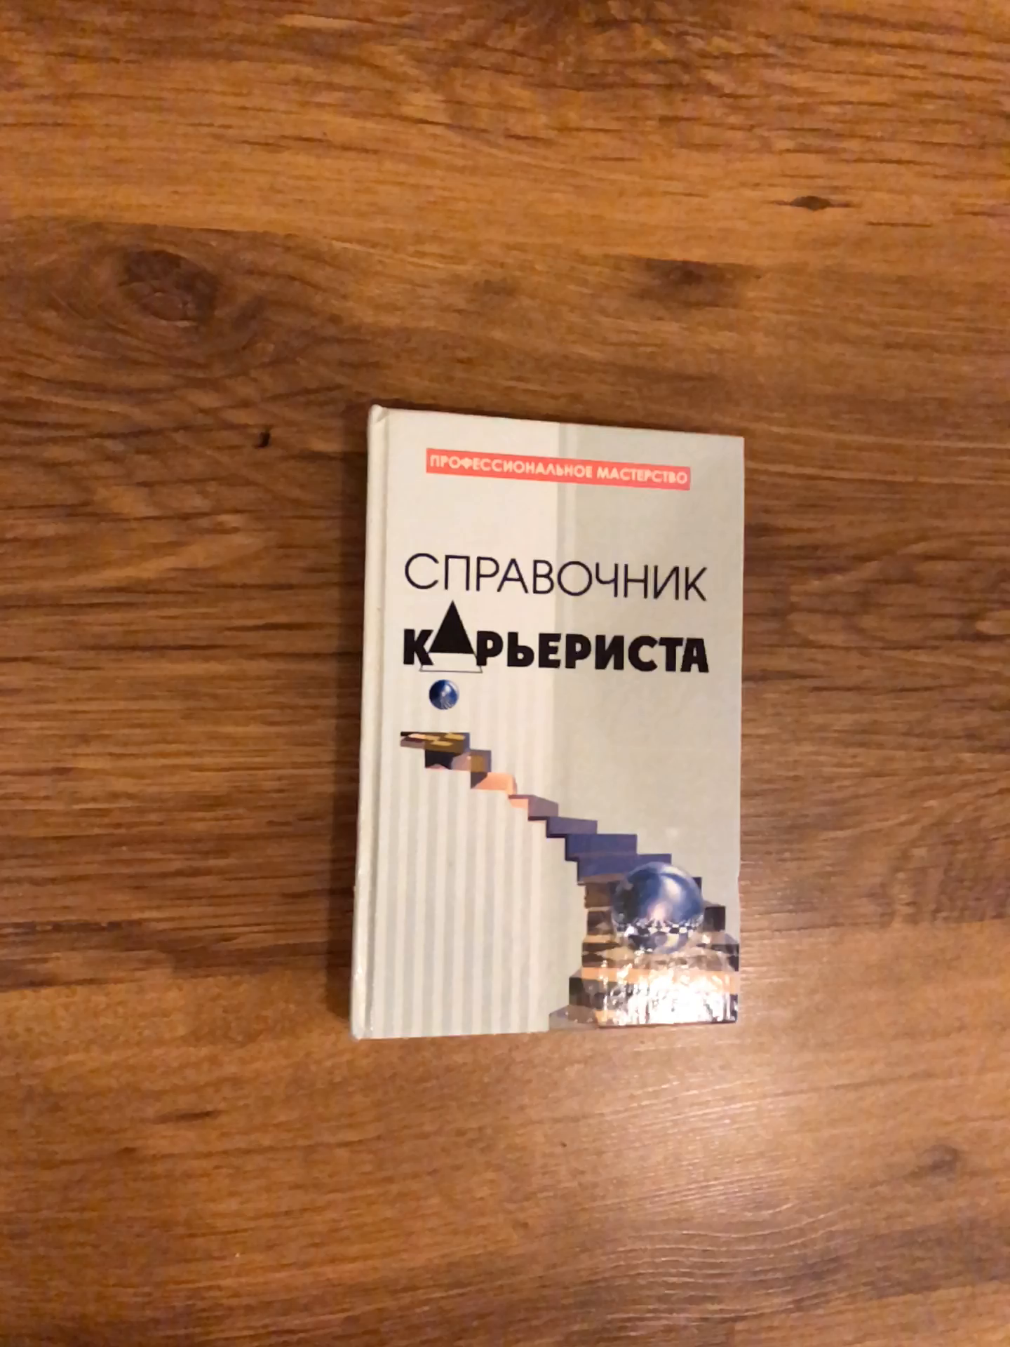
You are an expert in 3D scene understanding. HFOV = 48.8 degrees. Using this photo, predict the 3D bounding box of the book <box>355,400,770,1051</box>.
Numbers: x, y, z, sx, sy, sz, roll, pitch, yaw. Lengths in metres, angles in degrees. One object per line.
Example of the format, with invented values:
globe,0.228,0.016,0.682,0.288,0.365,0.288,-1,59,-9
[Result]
book,0.021,0.017,0.377,0.136,0.026,0.204,2,87,-12
